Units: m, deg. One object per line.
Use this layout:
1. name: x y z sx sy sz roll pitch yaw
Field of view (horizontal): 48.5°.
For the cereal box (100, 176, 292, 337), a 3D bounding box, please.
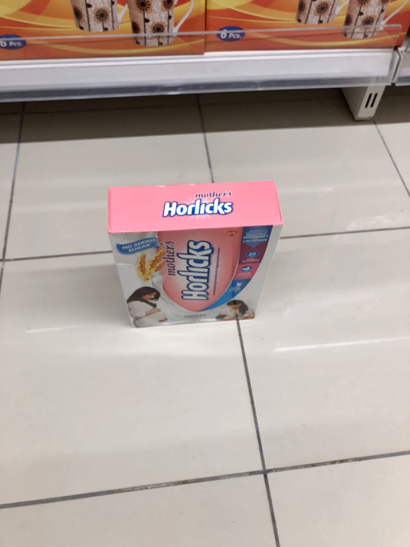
1. cereal box: -0.012 -0.008 0.475 0.160 0.189 0.060 -4 57 -5
